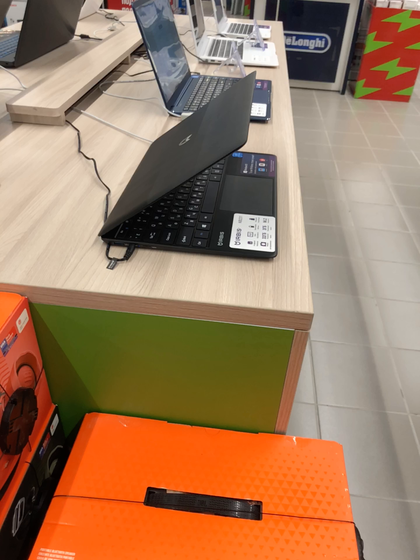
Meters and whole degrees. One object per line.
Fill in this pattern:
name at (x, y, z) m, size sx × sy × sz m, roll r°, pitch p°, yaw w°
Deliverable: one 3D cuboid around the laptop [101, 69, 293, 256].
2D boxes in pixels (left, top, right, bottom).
laptop at (-0.001, -0.181, 0.644) m, size 0.203 × 0.132 × 0.301 m, roll 6°, pitch 36°, yaw 4°
